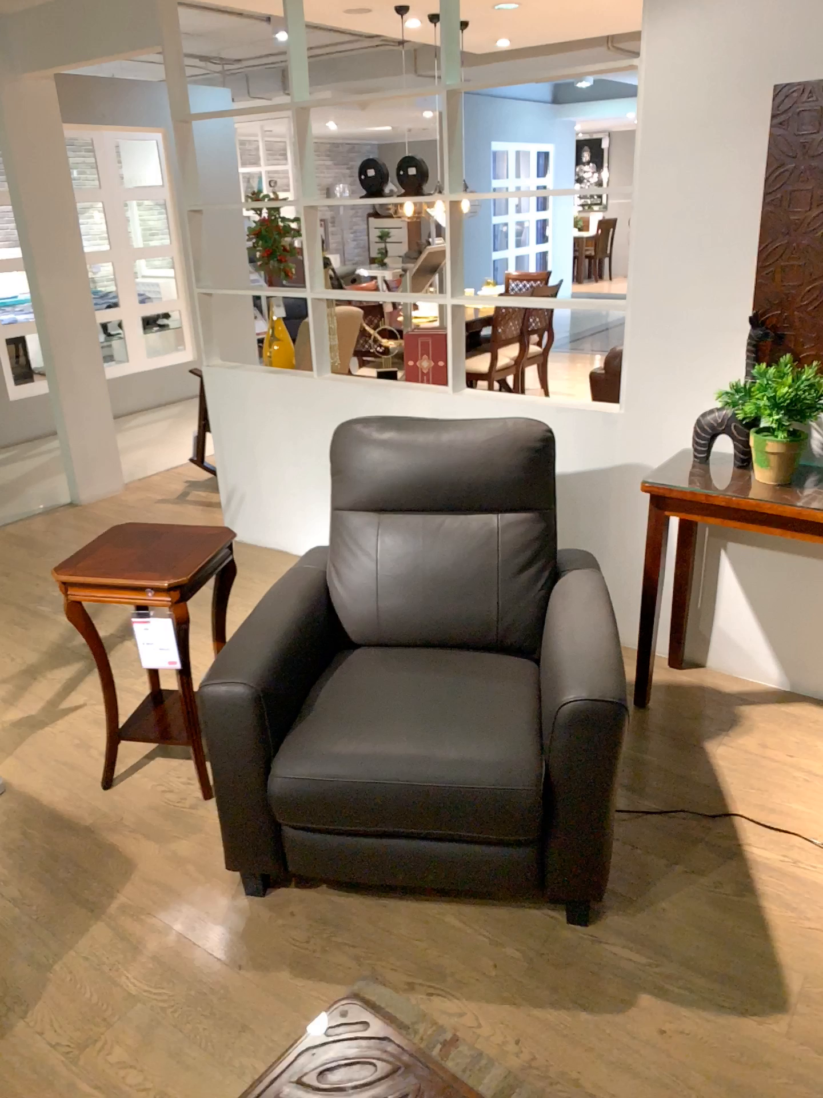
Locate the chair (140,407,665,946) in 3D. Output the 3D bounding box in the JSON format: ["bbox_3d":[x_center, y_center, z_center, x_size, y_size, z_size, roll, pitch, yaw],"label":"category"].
[{"bbox_3d":[0.048,0.215,2.080,0.940,0.926,0.923,1,23,9],"label":"chair"}]
